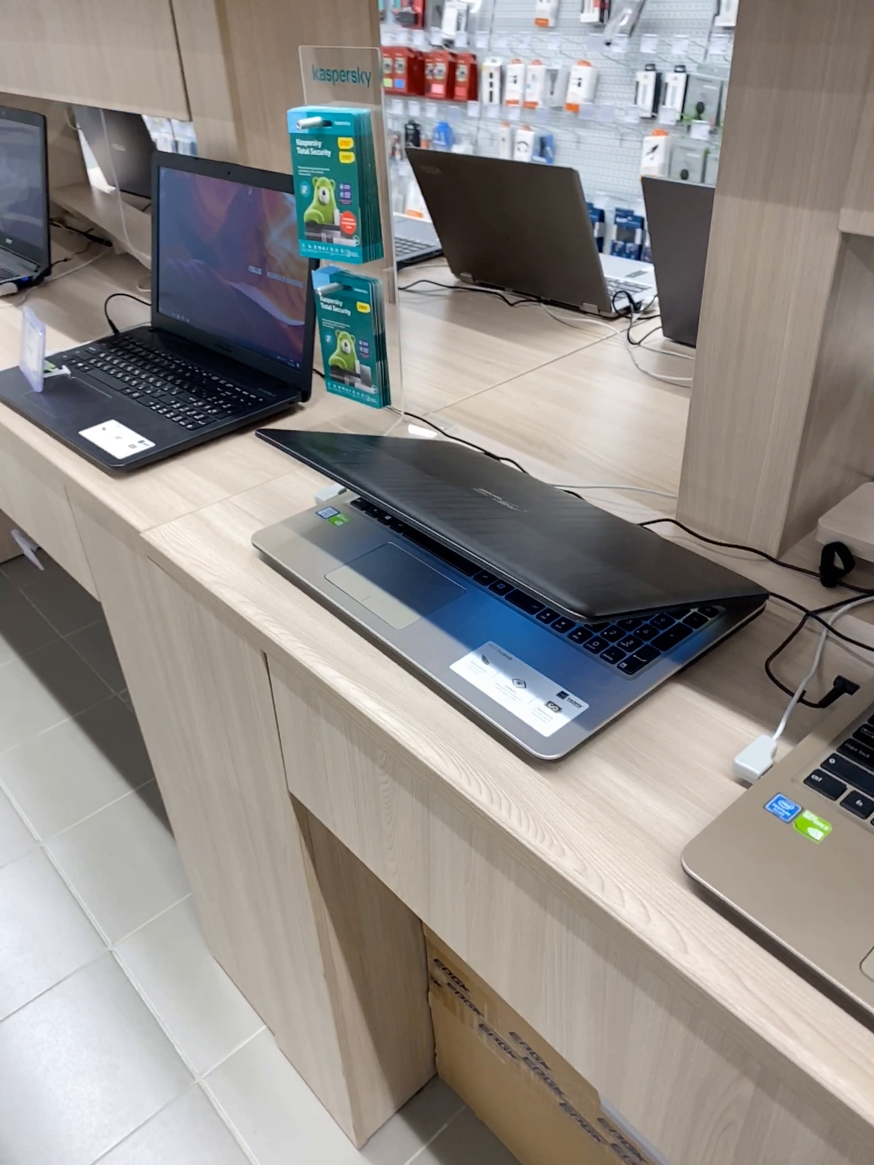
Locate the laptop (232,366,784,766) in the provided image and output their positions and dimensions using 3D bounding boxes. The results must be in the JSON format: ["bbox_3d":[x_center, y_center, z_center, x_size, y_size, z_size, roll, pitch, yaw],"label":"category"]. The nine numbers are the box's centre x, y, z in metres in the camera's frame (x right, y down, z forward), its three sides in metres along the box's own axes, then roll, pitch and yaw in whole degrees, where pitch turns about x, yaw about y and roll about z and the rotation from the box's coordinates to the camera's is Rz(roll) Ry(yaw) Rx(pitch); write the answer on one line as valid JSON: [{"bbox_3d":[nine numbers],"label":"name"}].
[{"bbox_3d":[0.039,-0.049,0.735,0.240,0.094,0.383,-28,42,-30],"label":"laptop"}]

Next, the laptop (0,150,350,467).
[{"bbox_3d":[-0.373,-0.365,1.100,0.318,0.235,0.422,-28,41,-32],"label":"laptop"}]
